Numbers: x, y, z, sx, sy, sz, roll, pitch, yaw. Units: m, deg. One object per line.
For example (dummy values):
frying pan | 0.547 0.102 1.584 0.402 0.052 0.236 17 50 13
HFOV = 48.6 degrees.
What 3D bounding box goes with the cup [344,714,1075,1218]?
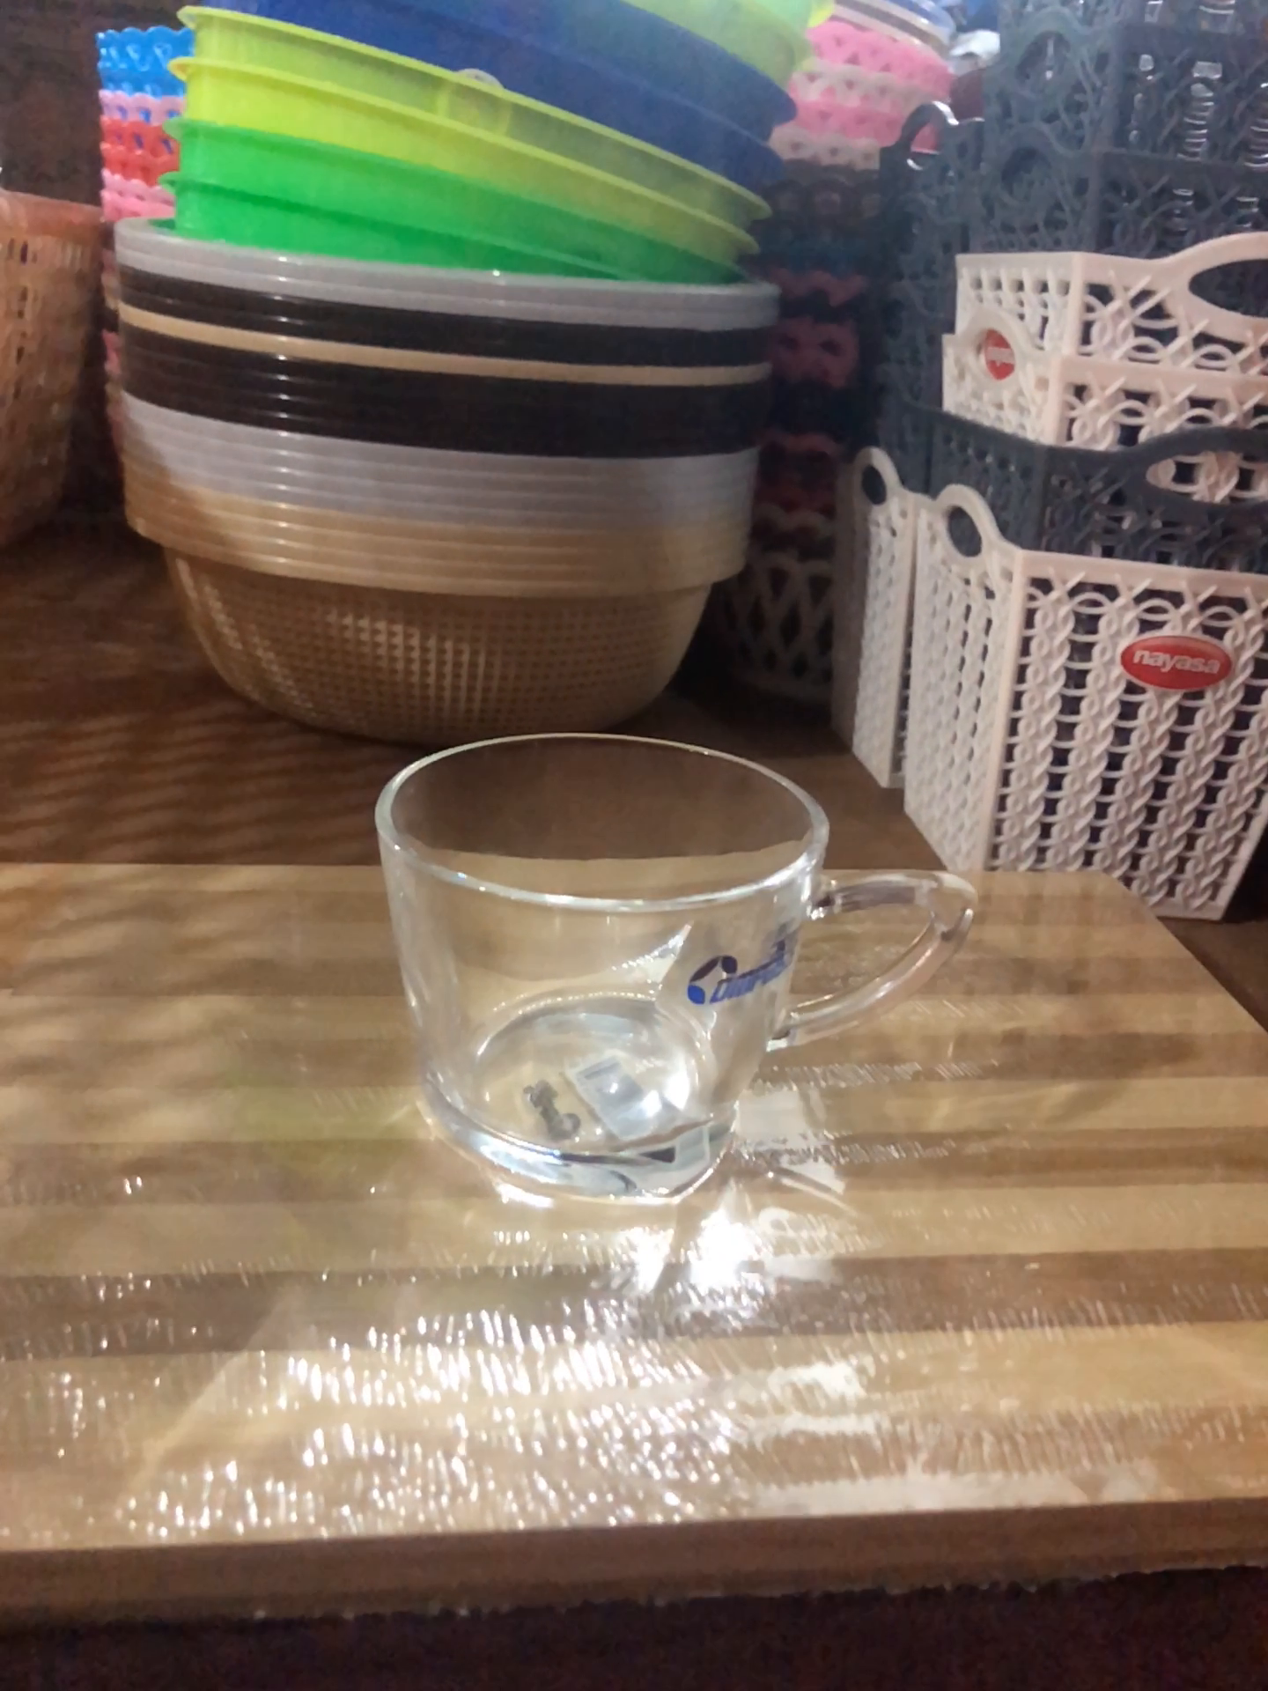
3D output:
cup | 0.010 0.018 0.254 0.110 0.060 0.070 3 23 -2
